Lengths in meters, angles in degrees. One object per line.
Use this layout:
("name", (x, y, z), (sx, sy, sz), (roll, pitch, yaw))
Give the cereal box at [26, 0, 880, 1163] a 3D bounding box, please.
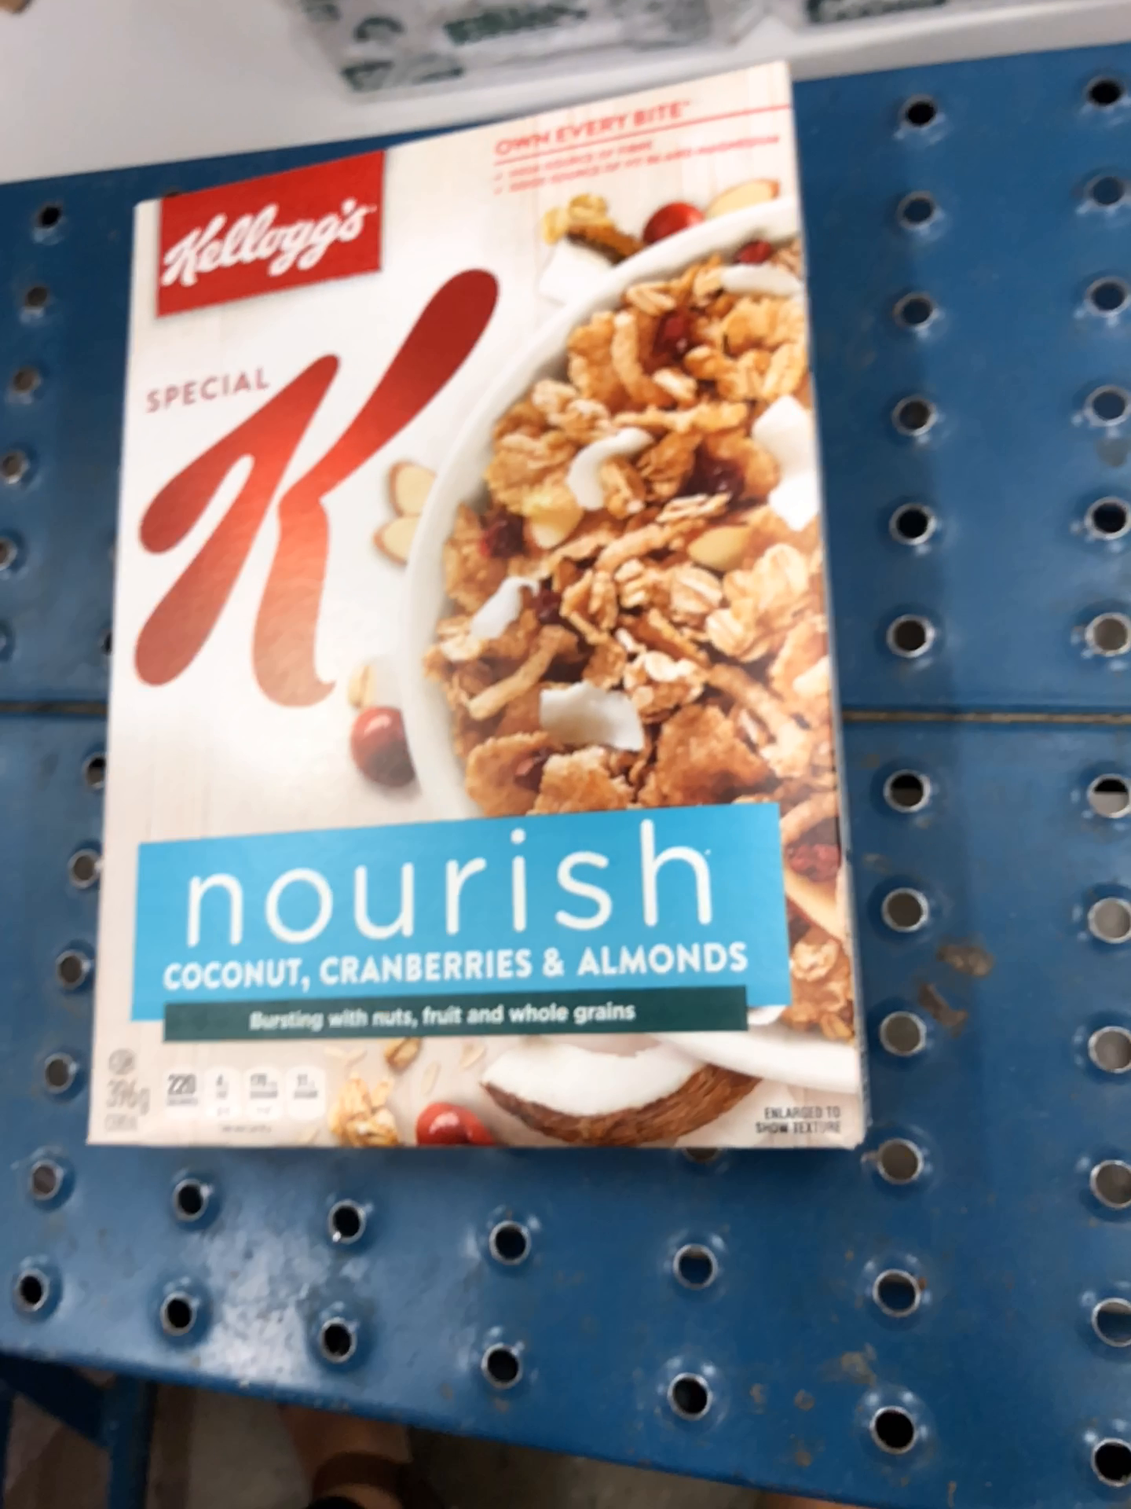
("cereal box", (-0.036, -0.043, 0.348), (0.210, 0.050, 0.290), (-5, 78, 15))
